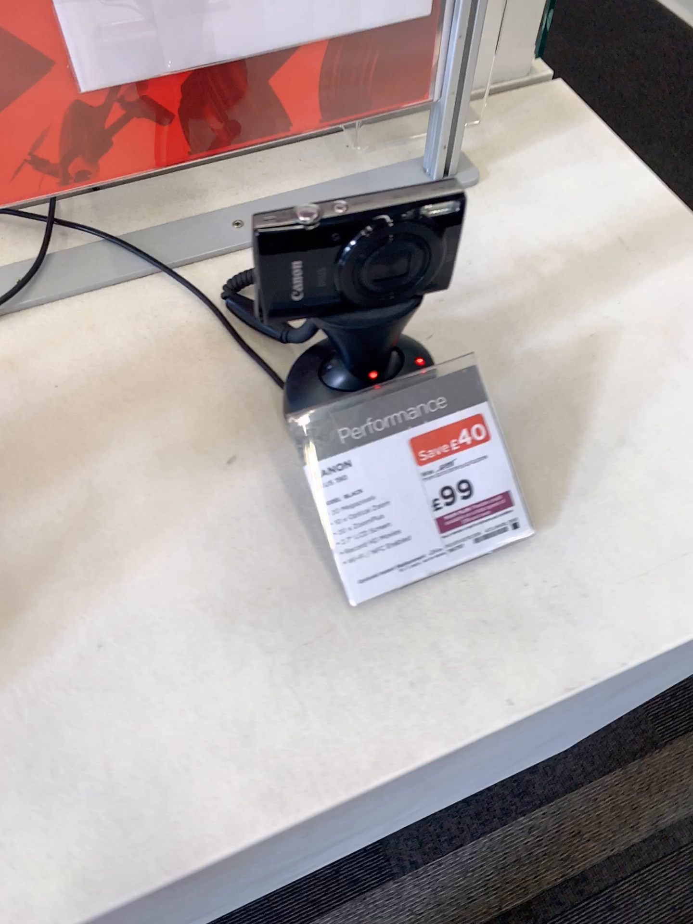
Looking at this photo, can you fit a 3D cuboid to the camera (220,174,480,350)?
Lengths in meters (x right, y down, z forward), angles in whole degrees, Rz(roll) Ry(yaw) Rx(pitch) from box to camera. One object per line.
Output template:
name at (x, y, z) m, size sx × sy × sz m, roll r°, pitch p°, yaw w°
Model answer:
camera at (0.001, -0.086, 0.305) m, size 0.100 × 0.050 × 0.030 m, roll -13°, pitch 60°, yaw -9°
